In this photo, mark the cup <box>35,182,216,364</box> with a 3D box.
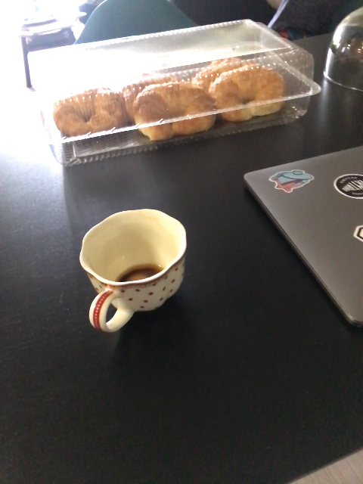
[{"bbox_3d":[-0.039,0.019,0.341,0.090,0.070,0.121,20,48,25],"label":"cup"}]
